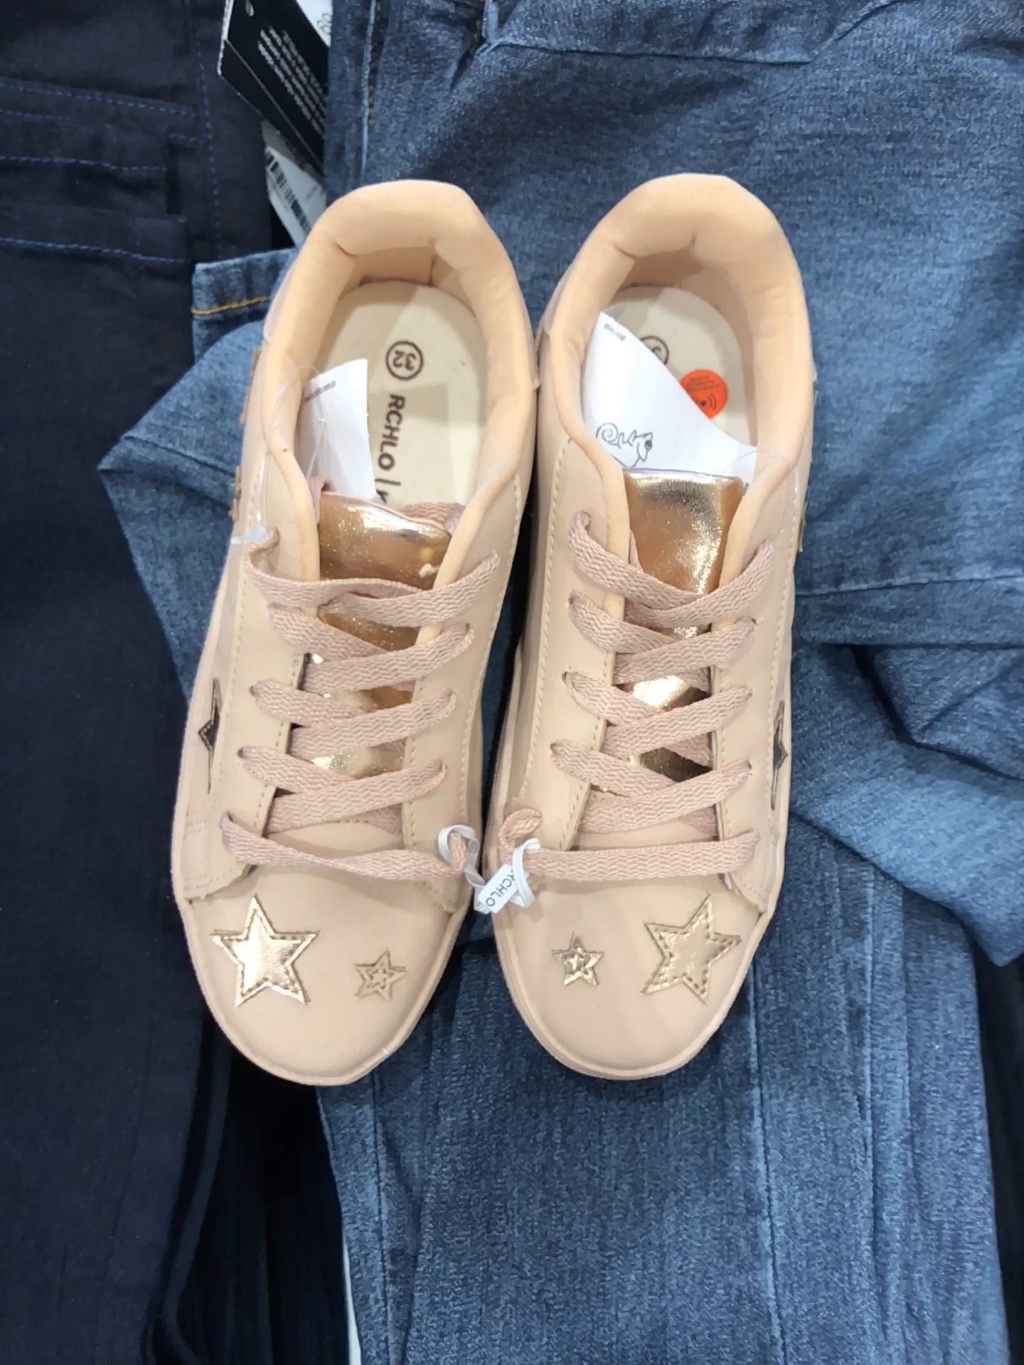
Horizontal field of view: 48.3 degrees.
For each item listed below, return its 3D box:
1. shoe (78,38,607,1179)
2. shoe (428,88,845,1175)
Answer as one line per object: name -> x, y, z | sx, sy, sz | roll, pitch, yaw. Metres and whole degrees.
shoe -> -0.036, -0.018, 0.304 | 0.090, 0.090, 0.250 | 7, 89, 3
shoe -> 0.031, -0.014, 0.306 | 0.090, 0.090, 0.250 | 1, 83, 1
